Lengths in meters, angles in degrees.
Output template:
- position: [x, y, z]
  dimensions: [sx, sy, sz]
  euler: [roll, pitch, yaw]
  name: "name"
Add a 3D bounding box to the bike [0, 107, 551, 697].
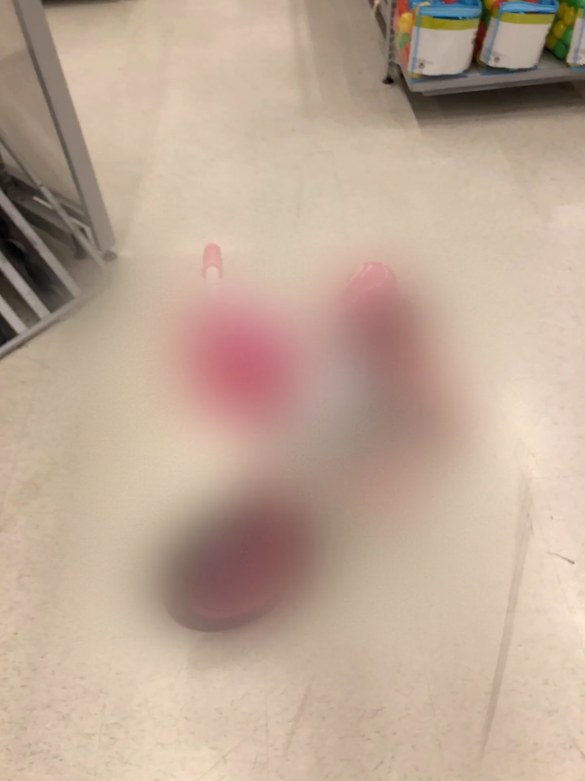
- position: [0.020, -0.001, 1.275]
  dimensions: [0.457, 0.632, 0.881]
  euler: [27, 58, 24]
  name: "bike"
